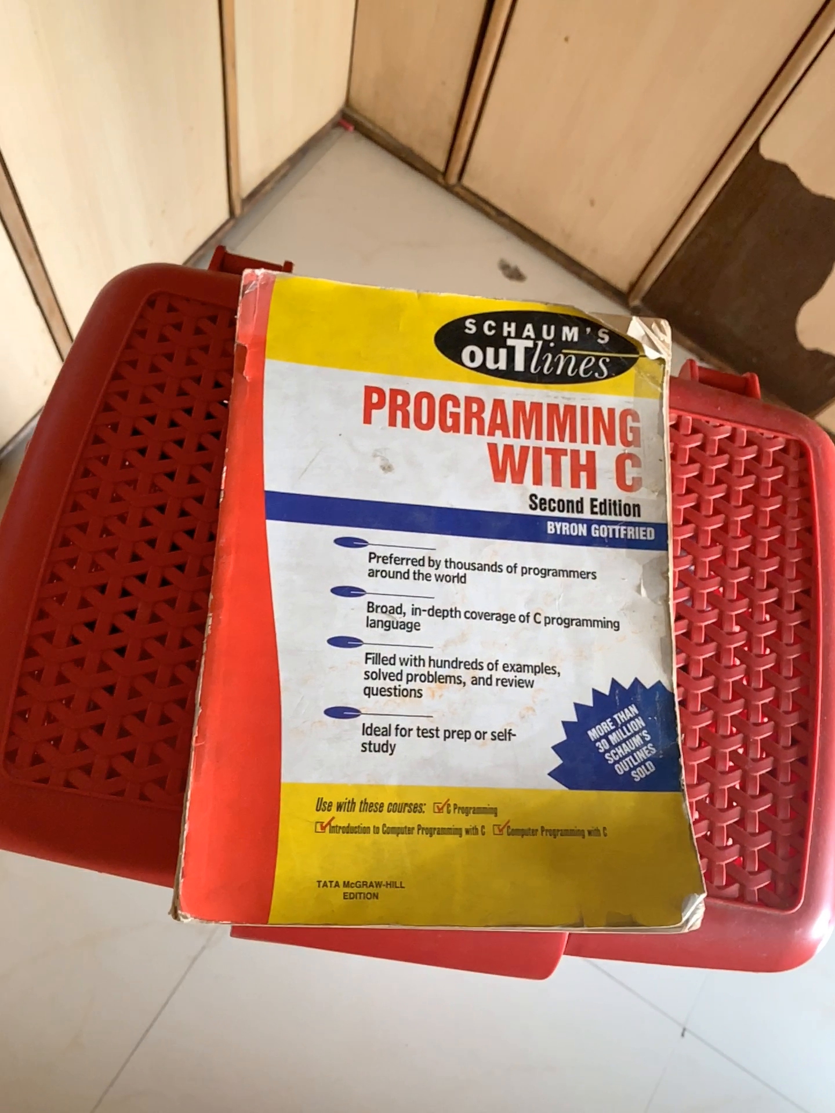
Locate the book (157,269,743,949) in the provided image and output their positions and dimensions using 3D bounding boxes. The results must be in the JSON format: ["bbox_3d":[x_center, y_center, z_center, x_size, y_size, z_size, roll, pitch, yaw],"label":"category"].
[{"bbox_3d":[0.017,0.017,0.351,0.200,0.050,0.251,5,72,-8],"label":"book"}]
